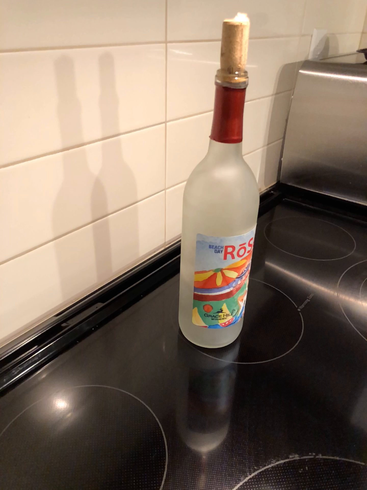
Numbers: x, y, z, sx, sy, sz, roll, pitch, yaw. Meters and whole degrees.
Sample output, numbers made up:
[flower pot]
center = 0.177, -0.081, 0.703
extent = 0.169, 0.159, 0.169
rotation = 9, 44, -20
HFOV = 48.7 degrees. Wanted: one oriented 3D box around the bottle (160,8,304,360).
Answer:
[bottle]
center = 0.033, -0.046, 0.397
extent = 0.080, 0.318, 0.080
rotation = 2, 30, -1
